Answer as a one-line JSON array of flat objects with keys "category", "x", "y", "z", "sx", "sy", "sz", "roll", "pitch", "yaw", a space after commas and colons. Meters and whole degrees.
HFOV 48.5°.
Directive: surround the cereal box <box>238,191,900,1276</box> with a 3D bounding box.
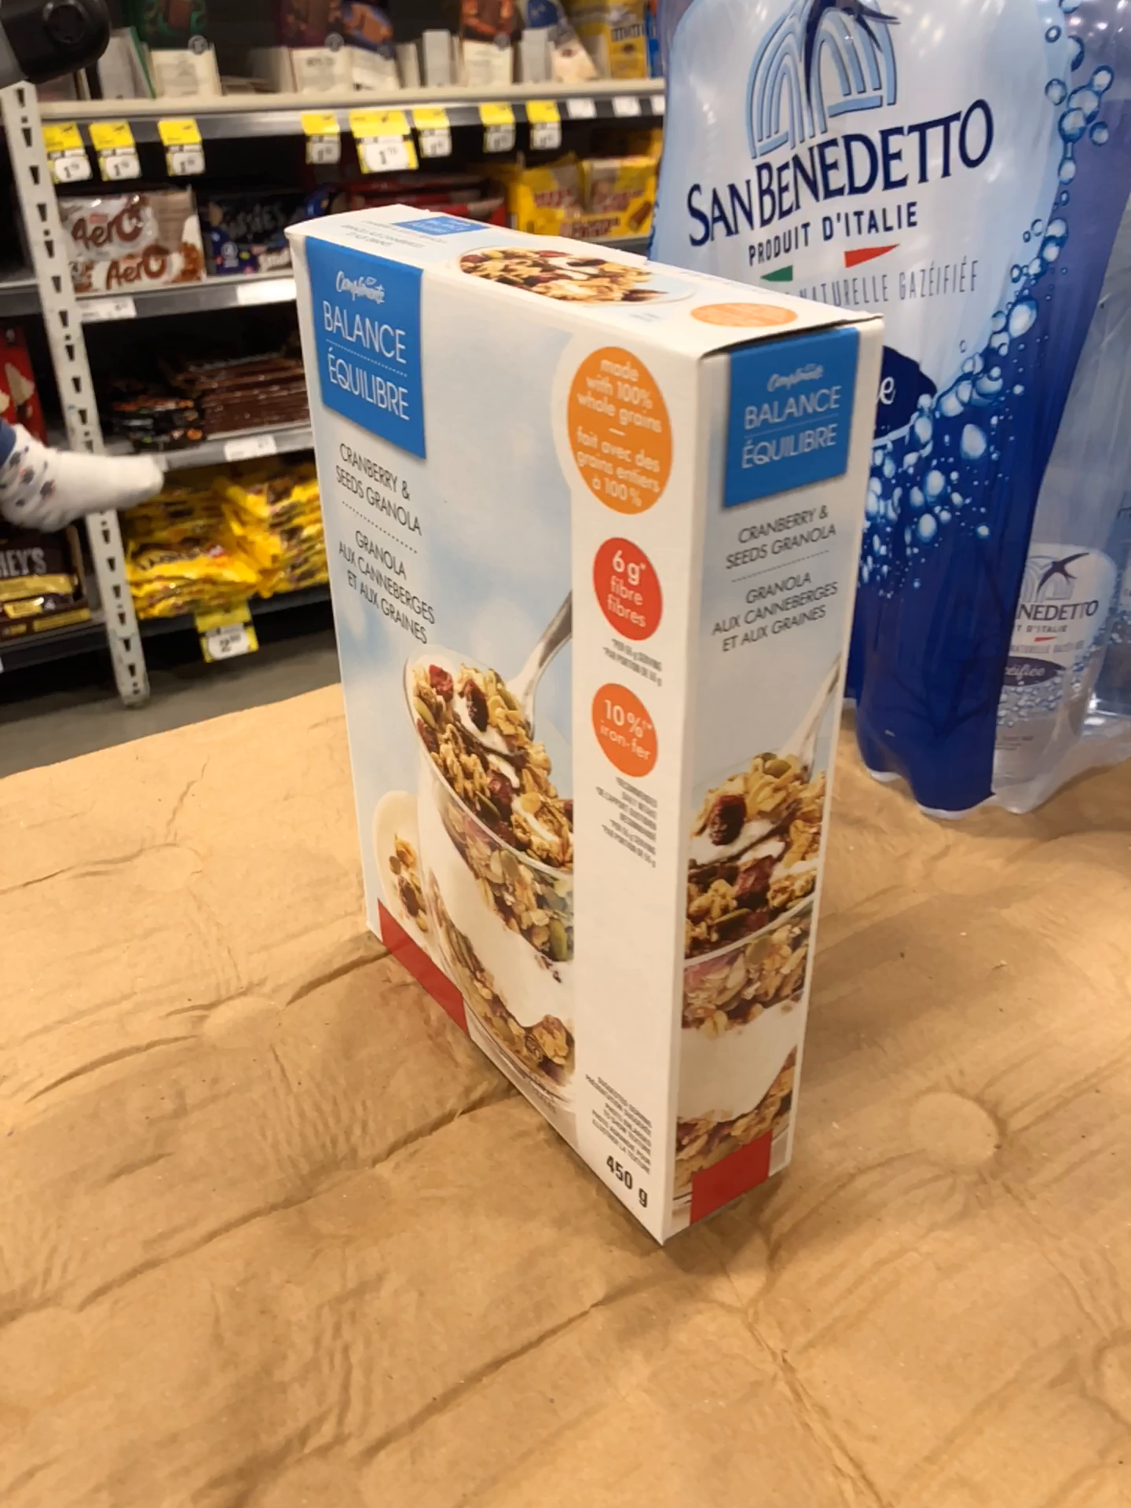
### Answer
[{"category": "cereal box", "x": -0.012, "y": -0.014, "z": 0.332, "sx": 0.050, "sy": 0.229, "sz": 0.181, "roll": -20, "pitch": 35, "yaw": -29}]
